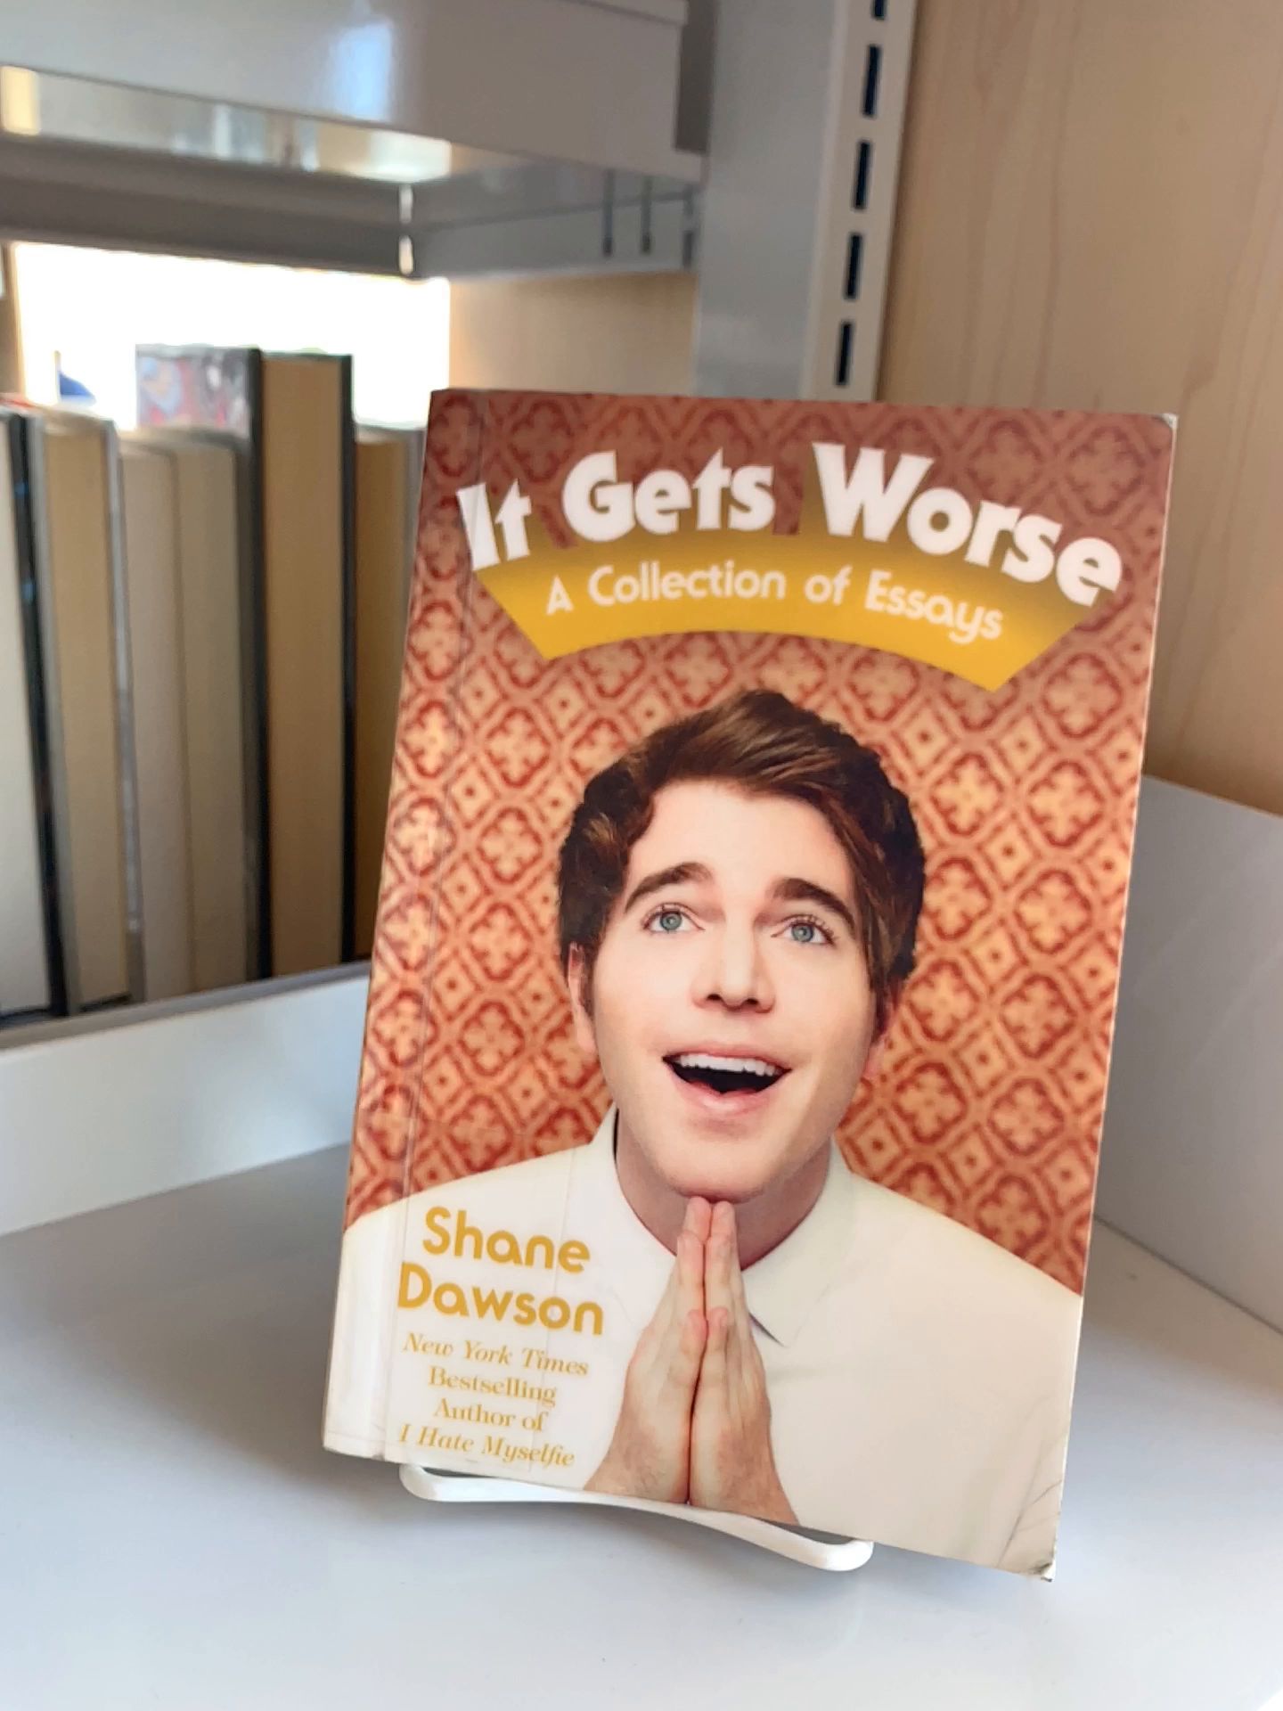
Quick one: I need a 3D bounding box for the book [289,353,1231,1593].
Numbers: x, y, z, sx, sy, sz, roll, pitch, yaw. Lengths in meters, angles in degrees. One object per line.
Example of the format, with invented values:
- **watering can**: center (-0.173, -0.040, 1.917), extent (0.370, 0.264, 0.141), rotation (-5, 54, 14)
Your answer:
- **book**: center (0.018, 0.019, 0.259), extent (0.149, 0.210, 0.030), rotation (6, 4, 7)
